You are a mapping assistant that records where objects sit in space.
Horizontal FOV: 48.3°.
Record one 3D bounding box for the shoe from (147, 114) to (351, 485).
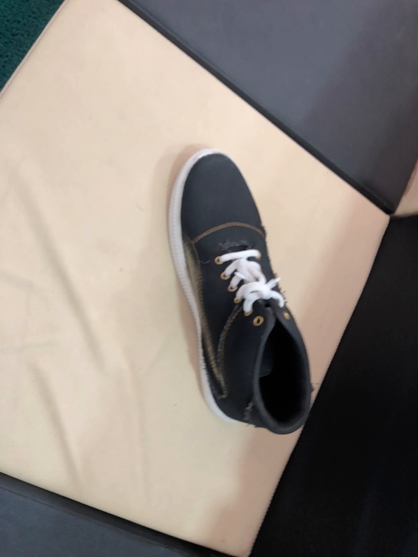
[{"bbox_3d":[0.033,0.015,0.445,0.100,0.109,0.300,-13,93,-23],"label":"shoe"}]
